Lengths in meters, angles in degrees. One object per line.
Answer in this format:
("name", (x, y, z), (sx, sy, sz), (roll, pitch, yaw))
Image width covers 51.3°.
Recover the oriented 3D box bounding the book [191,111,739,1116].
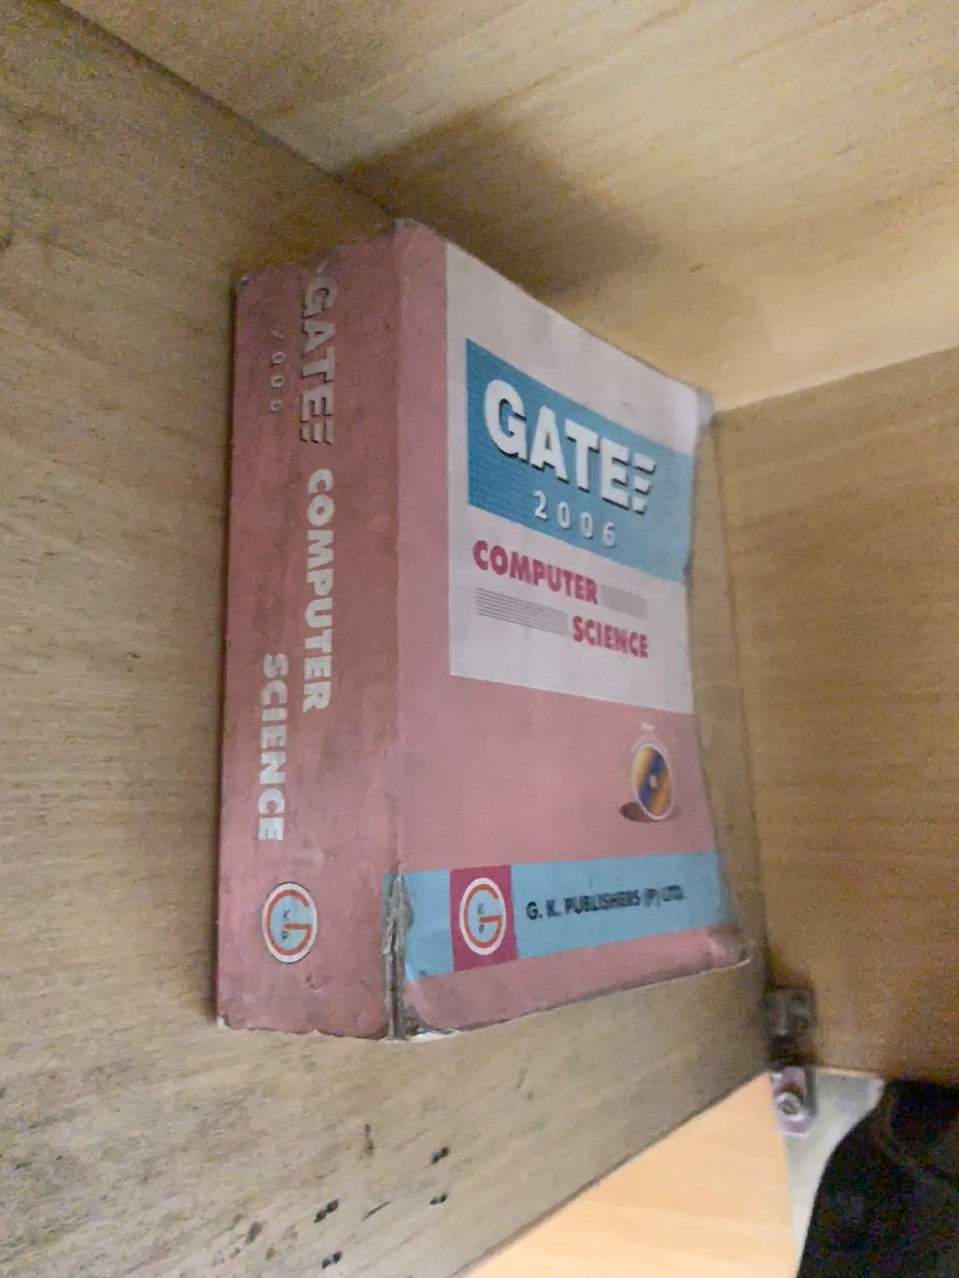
("book", (0.006, -0.001, 0.359), (0.191, 0.079, 0.270), (14, 71, -51))
